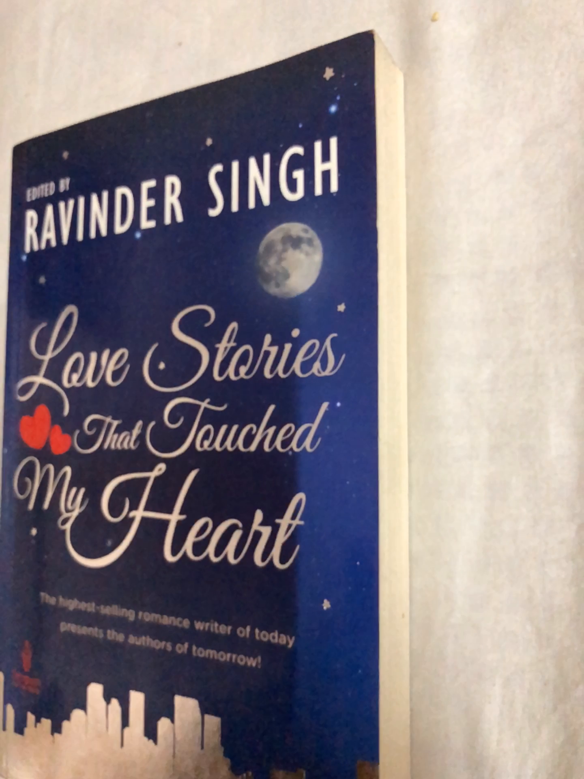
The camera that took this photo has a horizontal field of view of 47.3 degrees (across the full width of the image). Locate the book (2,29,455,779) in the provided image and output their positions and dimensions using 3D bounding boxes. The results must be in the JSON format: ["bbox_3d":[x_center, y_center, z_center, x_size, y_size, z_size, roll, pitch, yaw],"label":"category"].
[{"bbox_3d":[-0.023,0.025,0.191,0.130,0.030,0.210,0,87,30],"label":"book"}]
